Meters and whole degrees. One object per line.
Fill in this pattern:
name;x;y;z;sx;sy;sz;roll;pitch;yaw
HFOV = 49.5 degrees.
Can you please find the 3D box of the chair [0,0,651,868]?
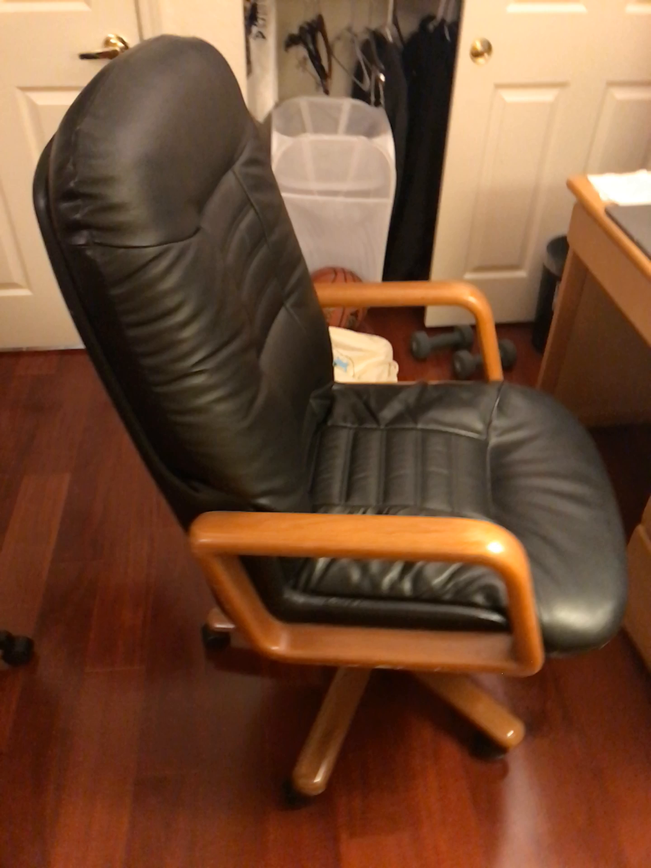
chair;0.107;-0.040;1.259;0.850;1.141;0.998;6;42;5
